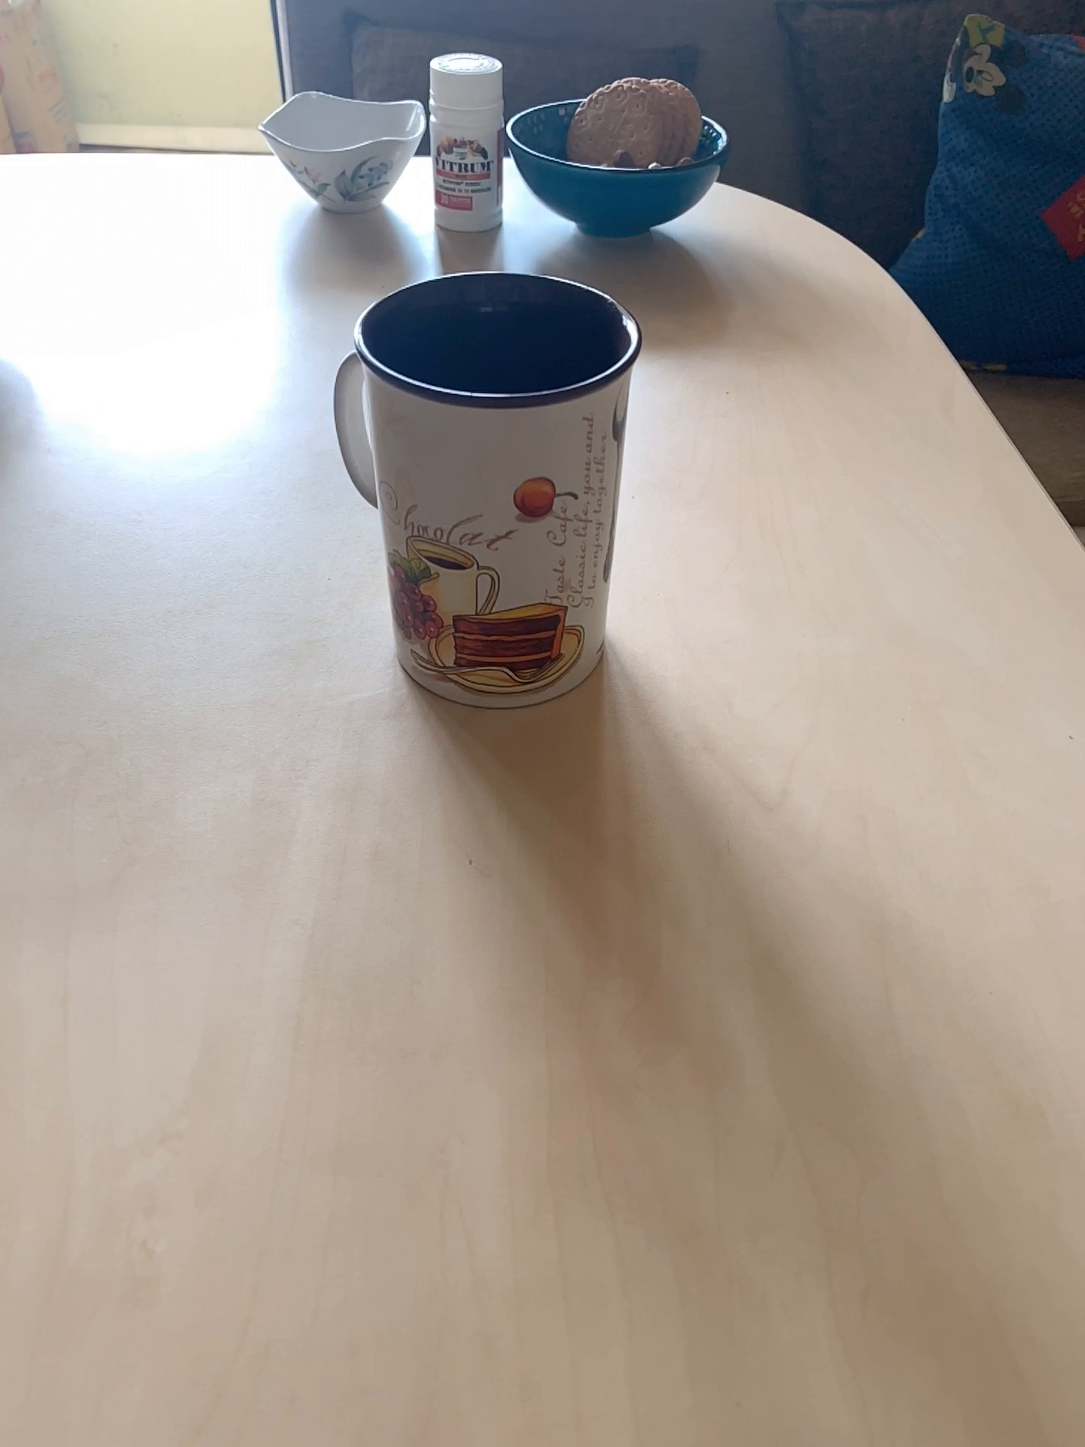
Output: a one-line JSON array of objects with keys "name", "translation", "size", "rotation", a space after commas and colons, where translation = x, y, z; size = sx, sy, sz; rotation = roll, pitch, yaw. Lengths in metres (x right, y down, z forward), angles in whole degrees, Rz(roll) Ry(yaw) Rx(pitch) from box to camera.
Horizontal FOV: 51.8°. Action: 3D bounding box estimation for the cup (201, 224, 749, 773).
[{"name": "cup", "translation": [-0.021, -0.076, 0.359], "size": [0.130, 0.110, 0.090], "rotation": [27, 49, 25]}]
